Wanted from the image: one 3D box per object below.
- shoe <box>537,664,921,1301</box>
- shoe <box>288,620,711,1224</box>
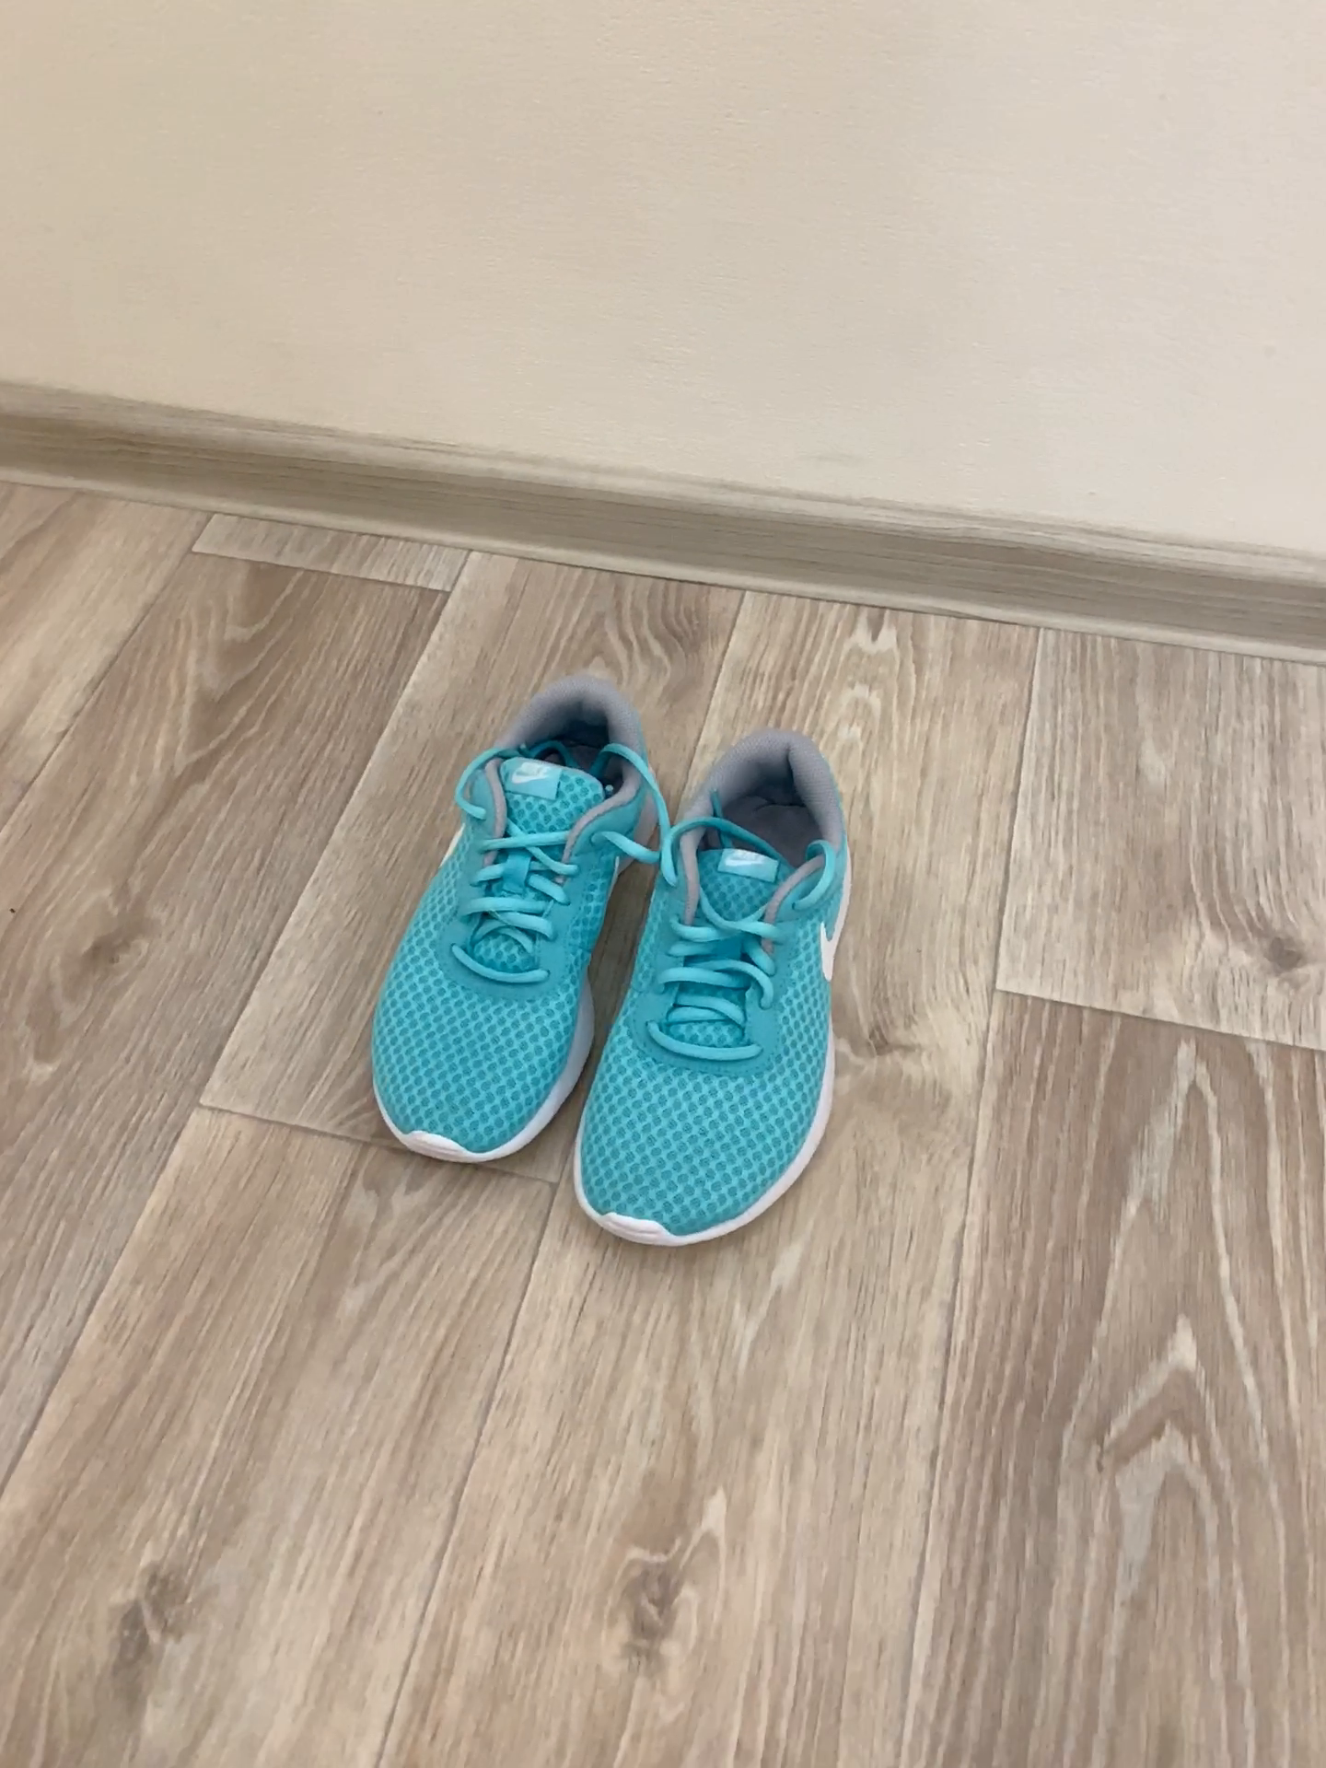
[{"bbox_3d":[0.037,0.032,0.586,0.098,0.090,0.251,12,55,10],"label":"shoe"},{"bbox_3d":[-0.058,0.007,0.611,0.101,0.090,0.251,12,55,10],"label":"shoe"}]
